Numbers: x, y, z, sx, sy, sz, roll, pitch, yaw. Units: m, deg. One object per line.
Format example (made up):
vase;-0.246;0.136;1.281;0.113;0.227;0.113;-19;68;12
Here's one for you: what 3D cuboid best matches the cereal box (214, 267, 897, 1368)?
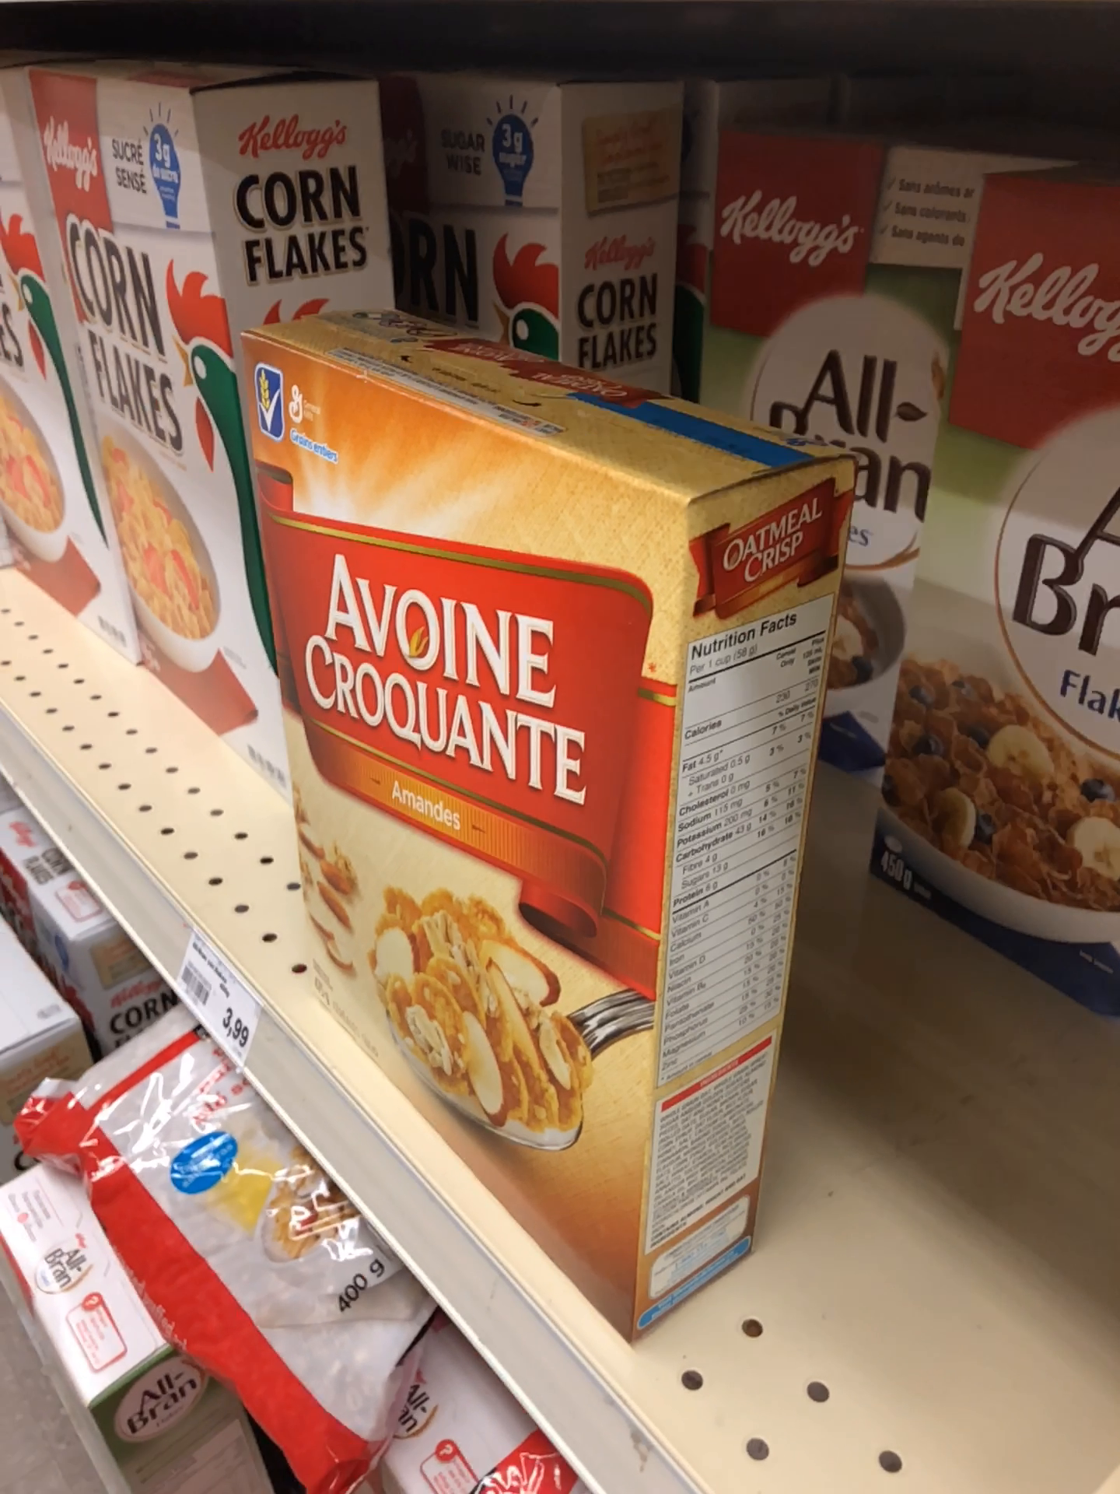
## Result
cereal box;-0.015;0.014;0.376;0.060;0.268;0.201;-22;37;-32
